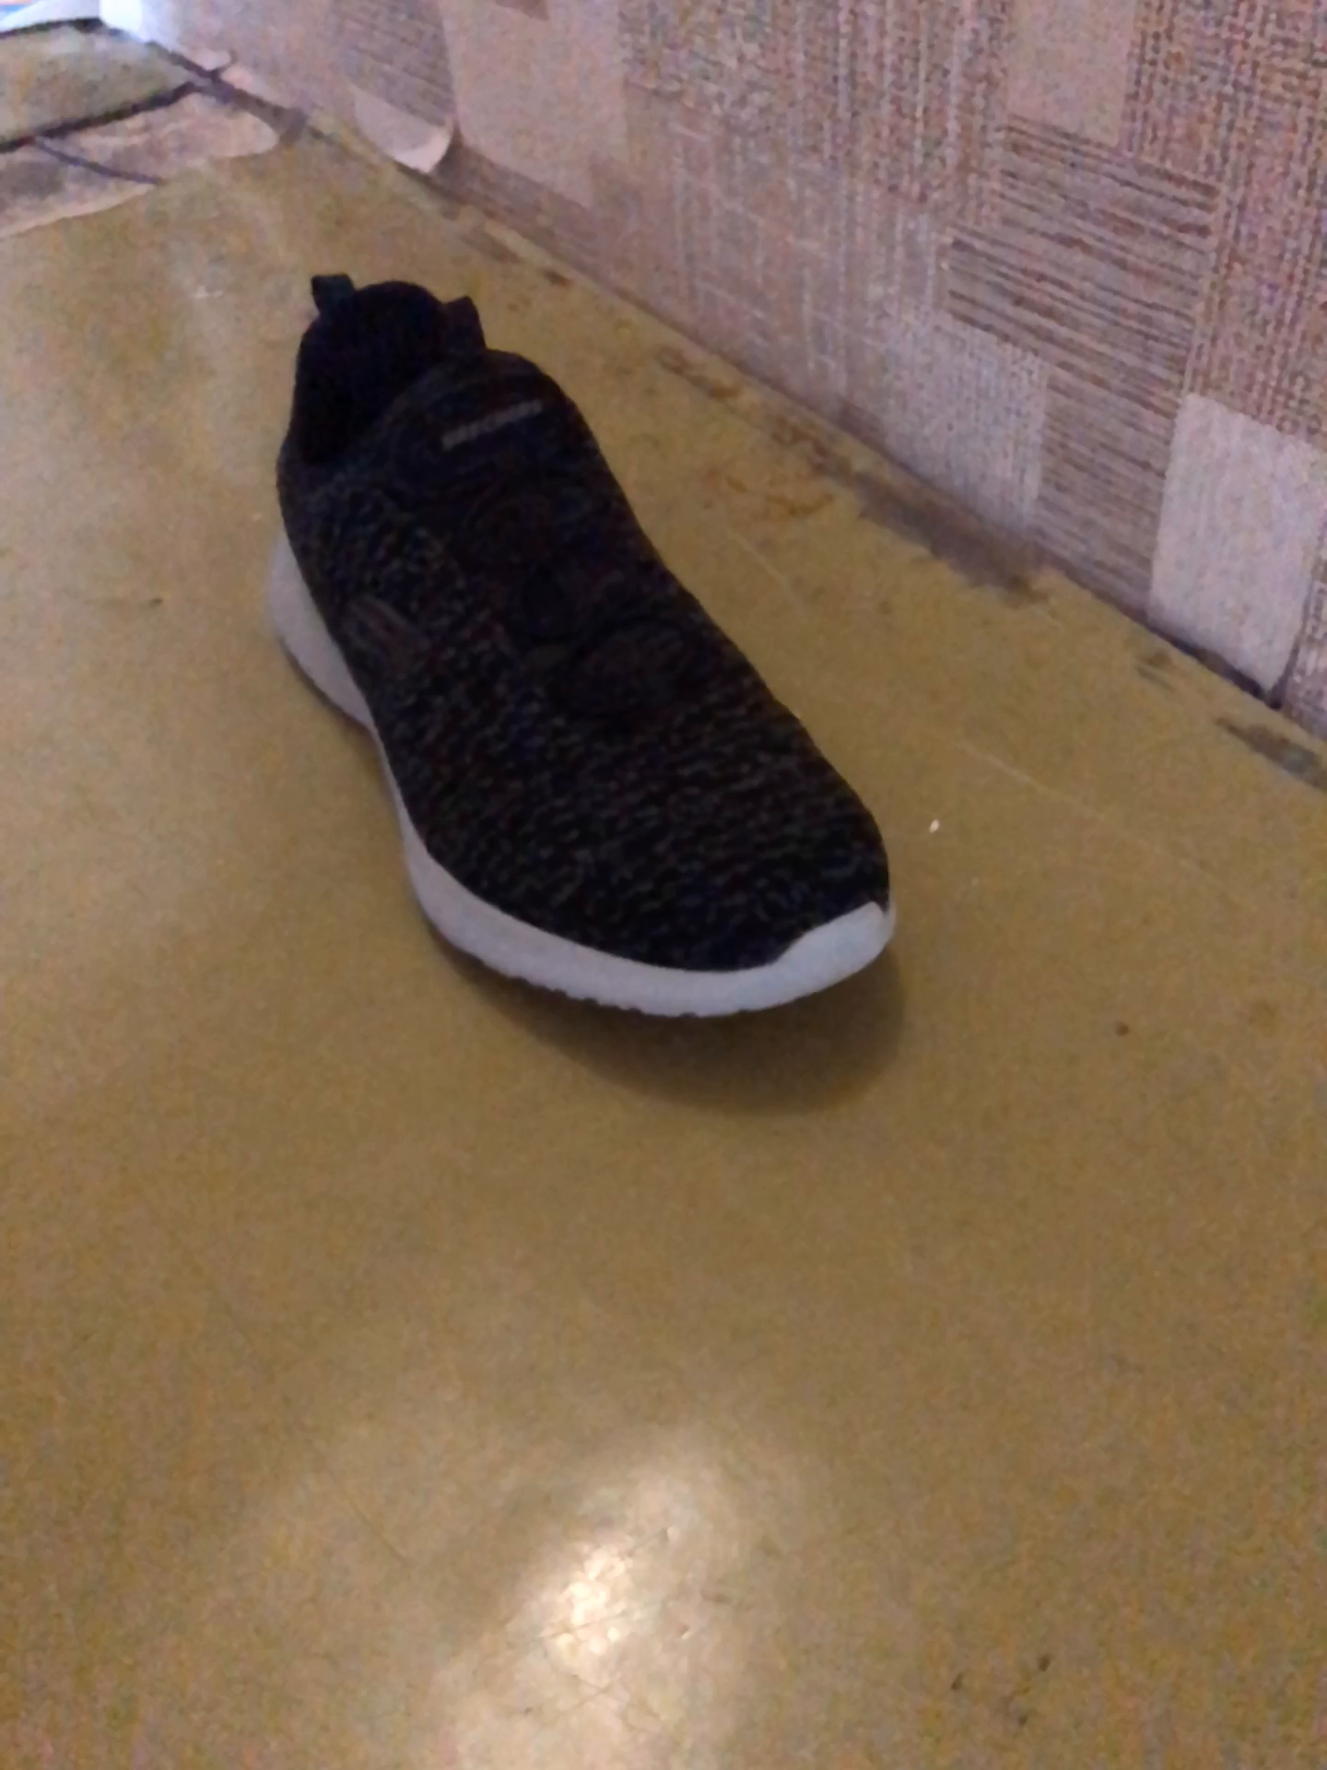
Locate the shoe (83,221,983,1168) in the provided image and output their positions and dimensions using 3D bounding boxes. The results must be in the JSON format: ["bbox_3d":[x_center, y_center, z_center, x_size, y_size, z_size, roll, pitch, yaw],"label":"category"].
[{"bbox_3d":[-0.058,-0.085,0.478,0.120,0.129,0.321,-27,49,-21],"label":"shoe"}]
